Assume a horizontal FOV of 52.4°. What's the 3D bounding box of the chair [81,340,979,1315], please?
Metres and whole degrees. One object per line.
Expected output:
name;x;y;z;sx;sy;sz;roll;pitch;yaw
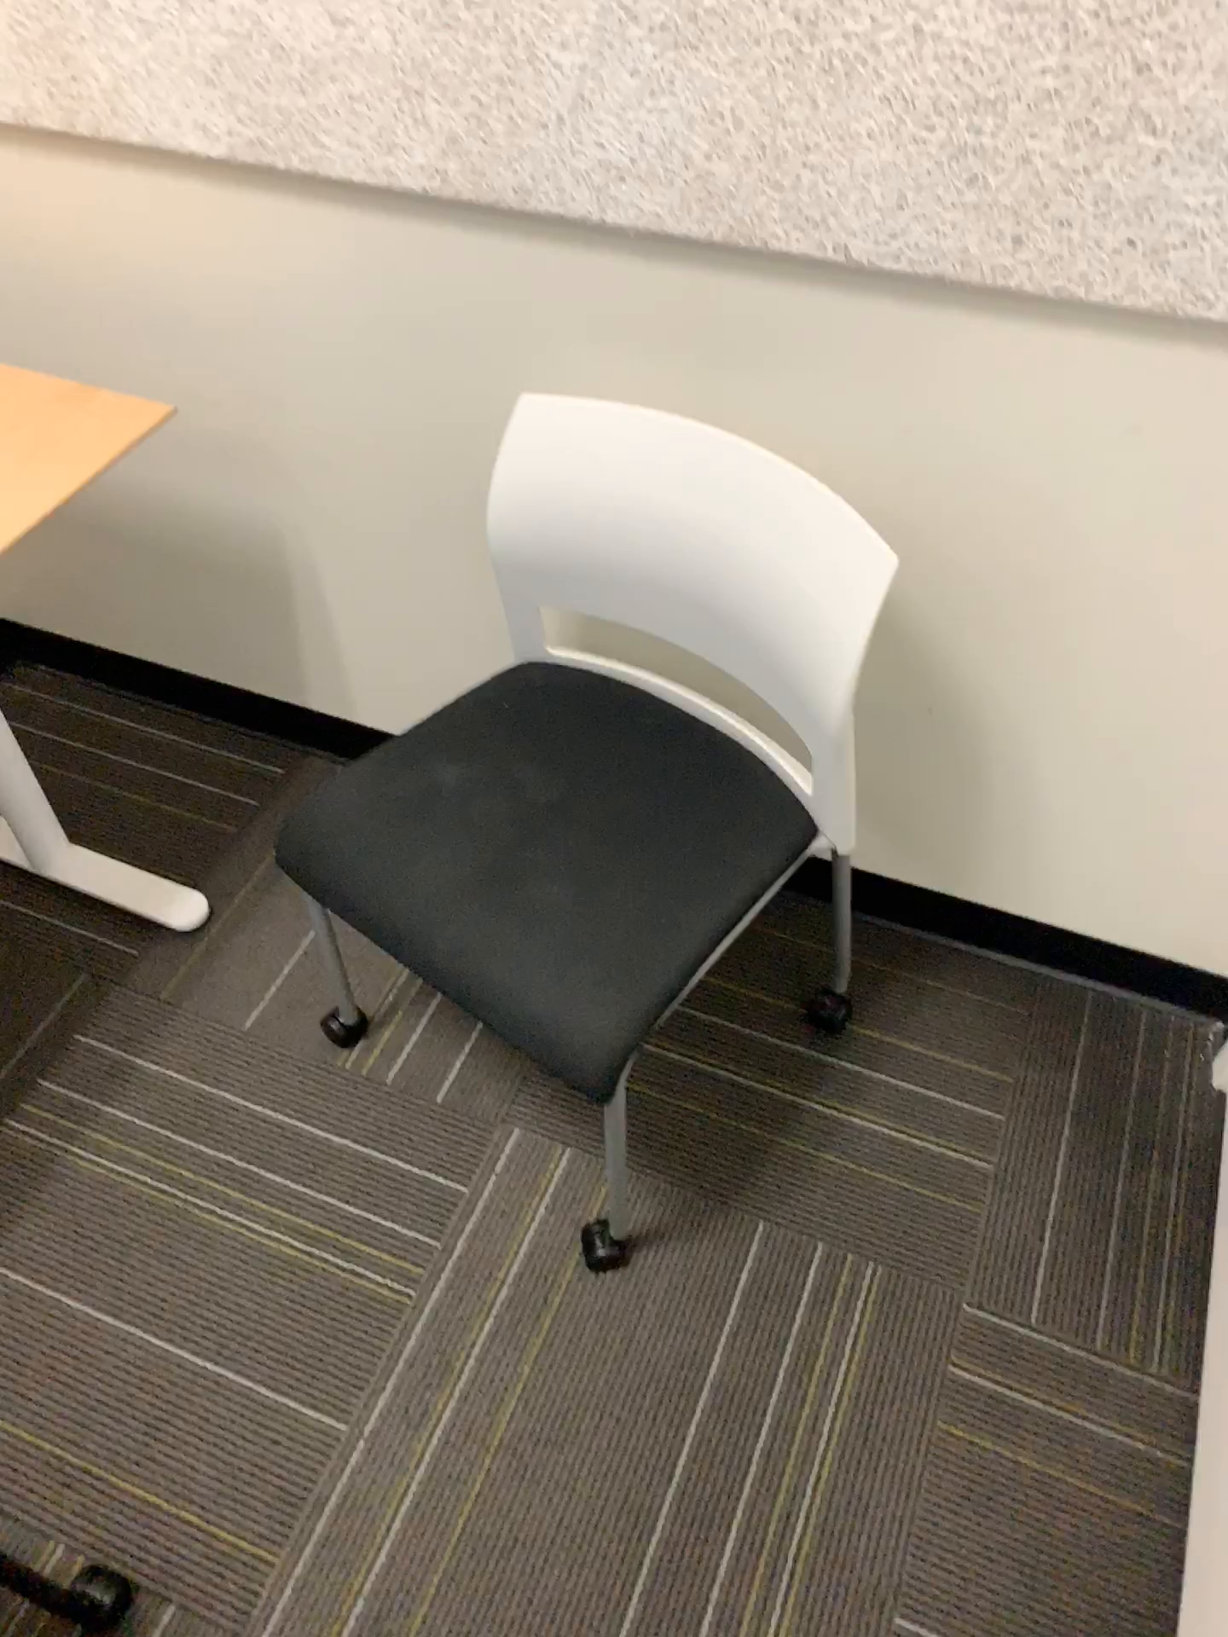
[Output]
chair;-0.063;0.016;1.377;0.582;0.736;0.541;31;56;26
